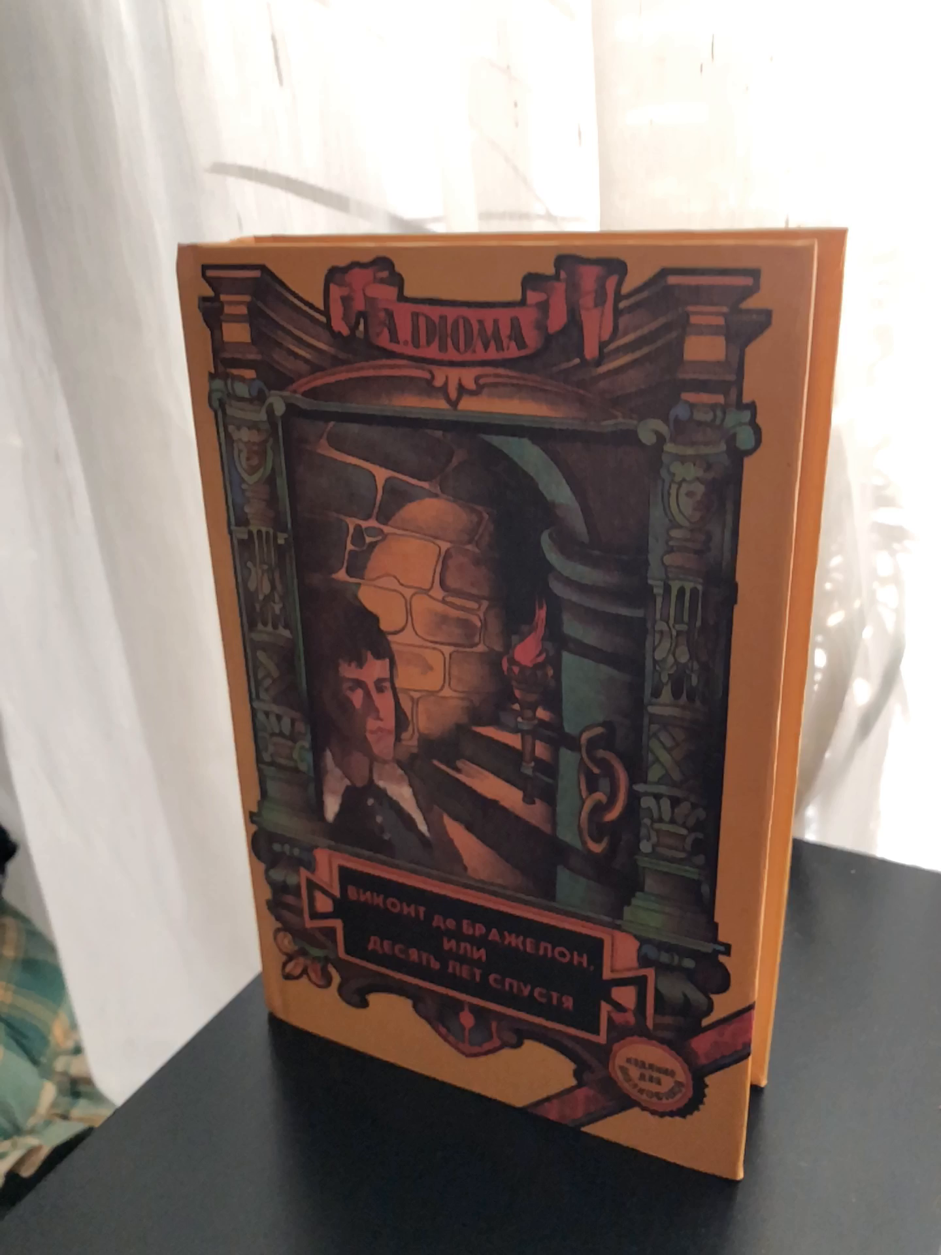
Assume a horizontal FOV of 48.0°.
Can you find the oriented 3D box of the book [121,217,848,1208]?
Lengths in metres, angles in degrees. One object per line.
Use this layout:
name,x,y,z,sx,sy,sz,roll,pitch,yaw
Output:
book,0.001,0.015,0.241,0.141,0.198,0.040,8,22,27
